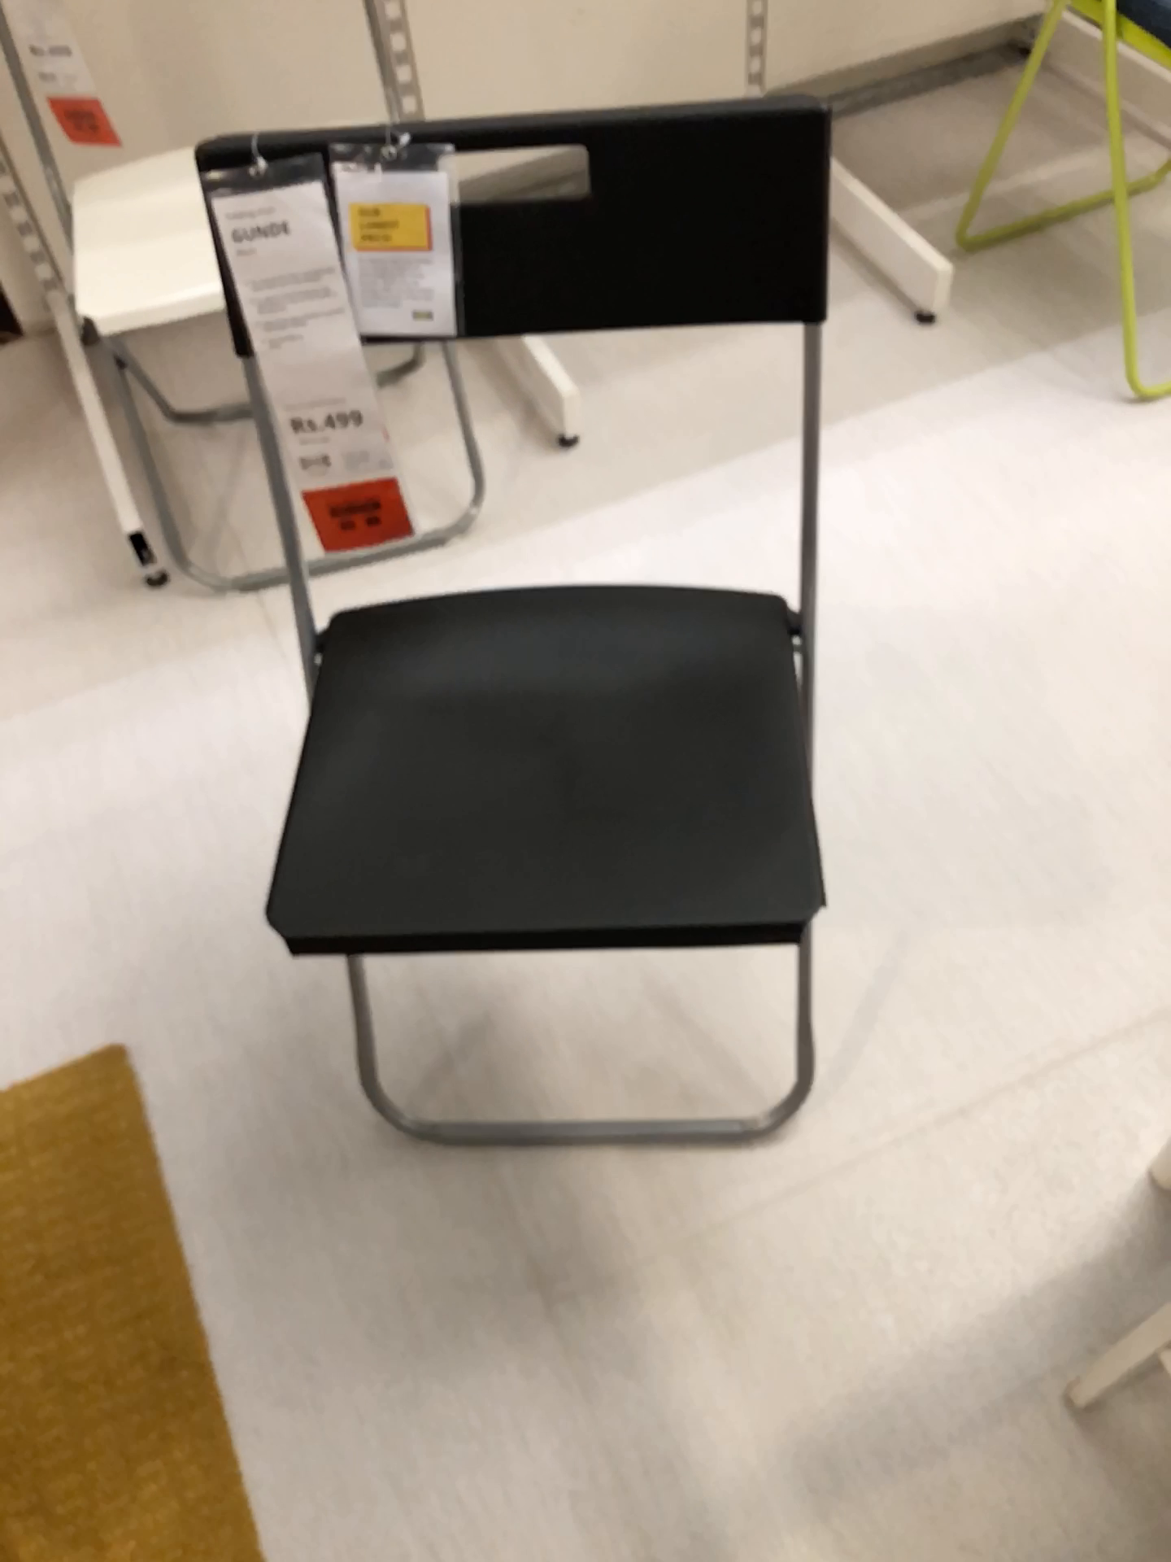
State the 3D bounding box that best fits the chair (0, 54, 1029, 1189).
[{"bbox_3d":[-0.026,-0.045,1.039,0.500,0.786,0.463,-2,53,3],"label":"chair"}]
